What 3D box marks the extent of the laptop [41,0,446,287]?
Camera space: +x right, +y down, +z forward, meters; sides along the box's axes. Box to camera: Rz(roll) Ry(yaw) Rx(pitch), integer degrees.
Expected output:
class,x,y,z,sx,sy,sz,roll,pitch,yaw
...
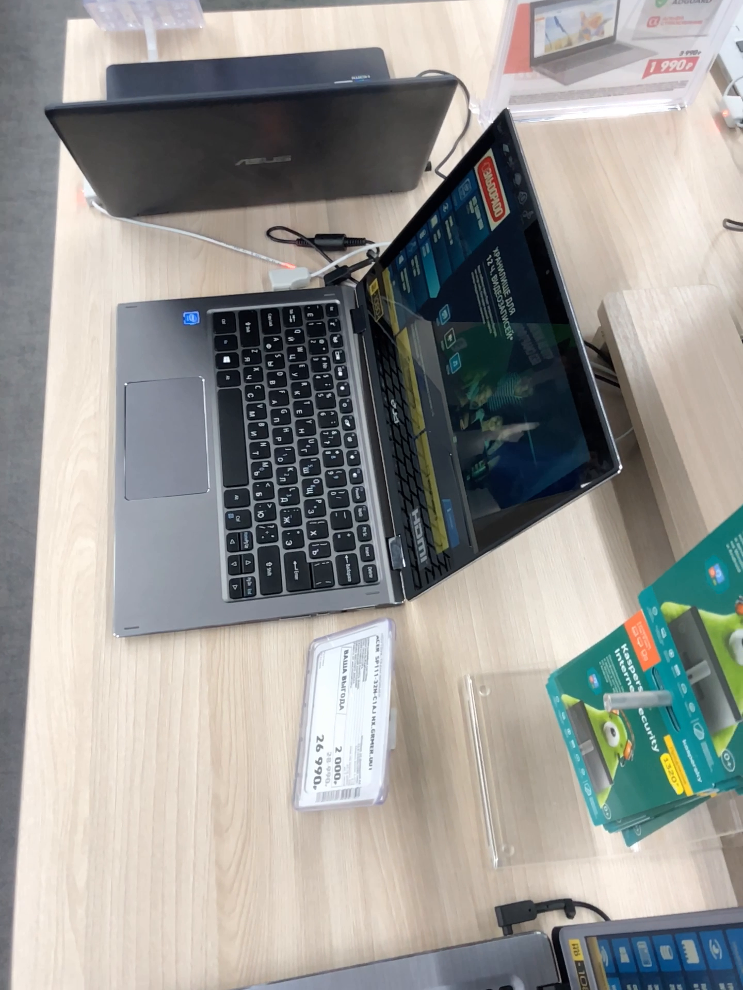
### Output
class,x,y,z,sx,sy,sz,roll,pitch,yaw
laptop,-0.106,-0.361,0.698,0.275,0.174,0.287,-6,63,-6

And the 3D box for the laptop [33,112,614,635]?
class,x,y,z,sx,sy,sz,roll,pitch,yaw
laptop,-0.041,-0.086,0.563,0.303,0.168,0.288,-6,63,-6
